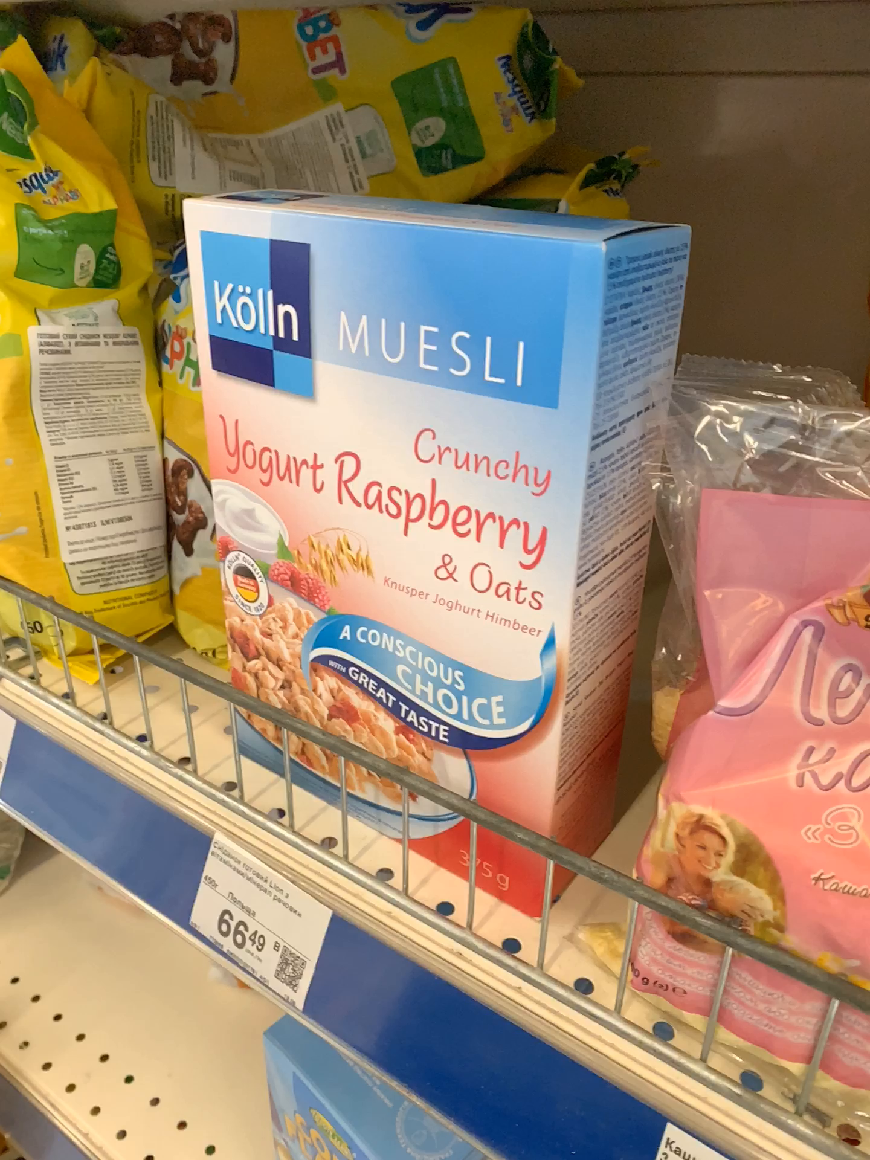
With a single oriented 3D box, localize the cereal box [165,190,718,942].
[{"bbox_3d":[-0.005,-0.011,0.301,0.150,0.208,0.060,20,32,32],"label":"cereal box"}]
